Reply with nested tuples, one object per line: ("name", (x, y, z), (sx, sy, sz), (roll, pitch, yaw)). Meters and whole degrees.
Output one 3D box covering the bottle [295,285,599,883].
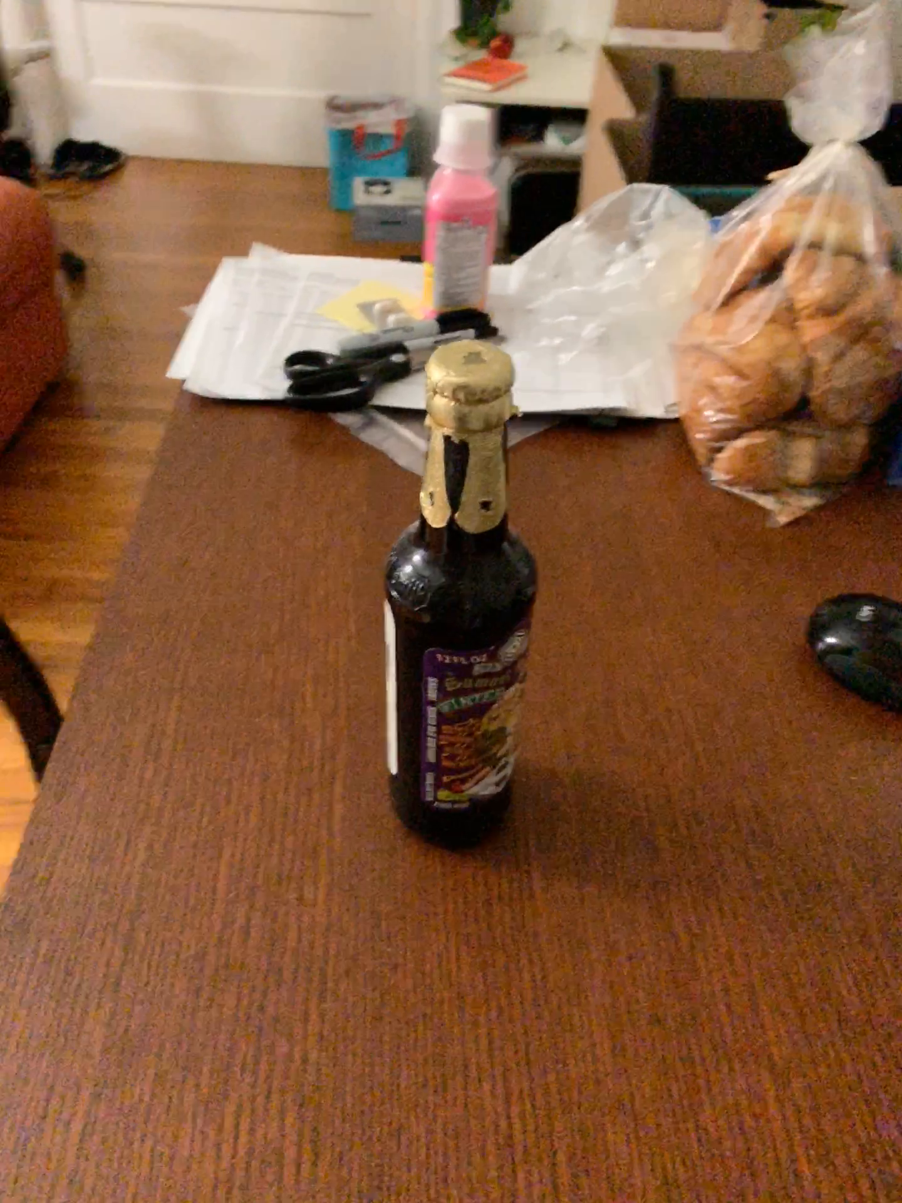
("bottle", (-0.008, 0.007, 0.361), (0.070, 0.229, 0.070), (2, 43, -2))
